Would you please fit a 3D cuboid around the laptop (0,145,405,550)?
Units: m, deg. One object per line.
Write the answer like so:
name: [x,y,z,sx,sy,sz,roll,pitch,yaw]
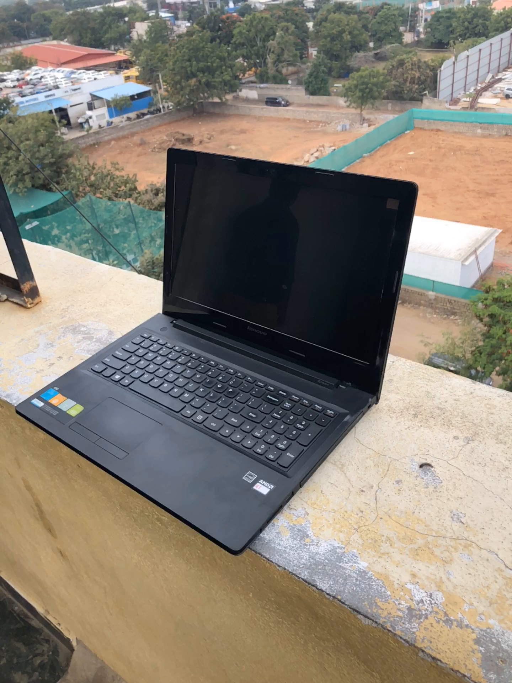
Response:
laptop: [-0.075,-0.043,0.650,0.367,0.229,0.330,20,42,33]
